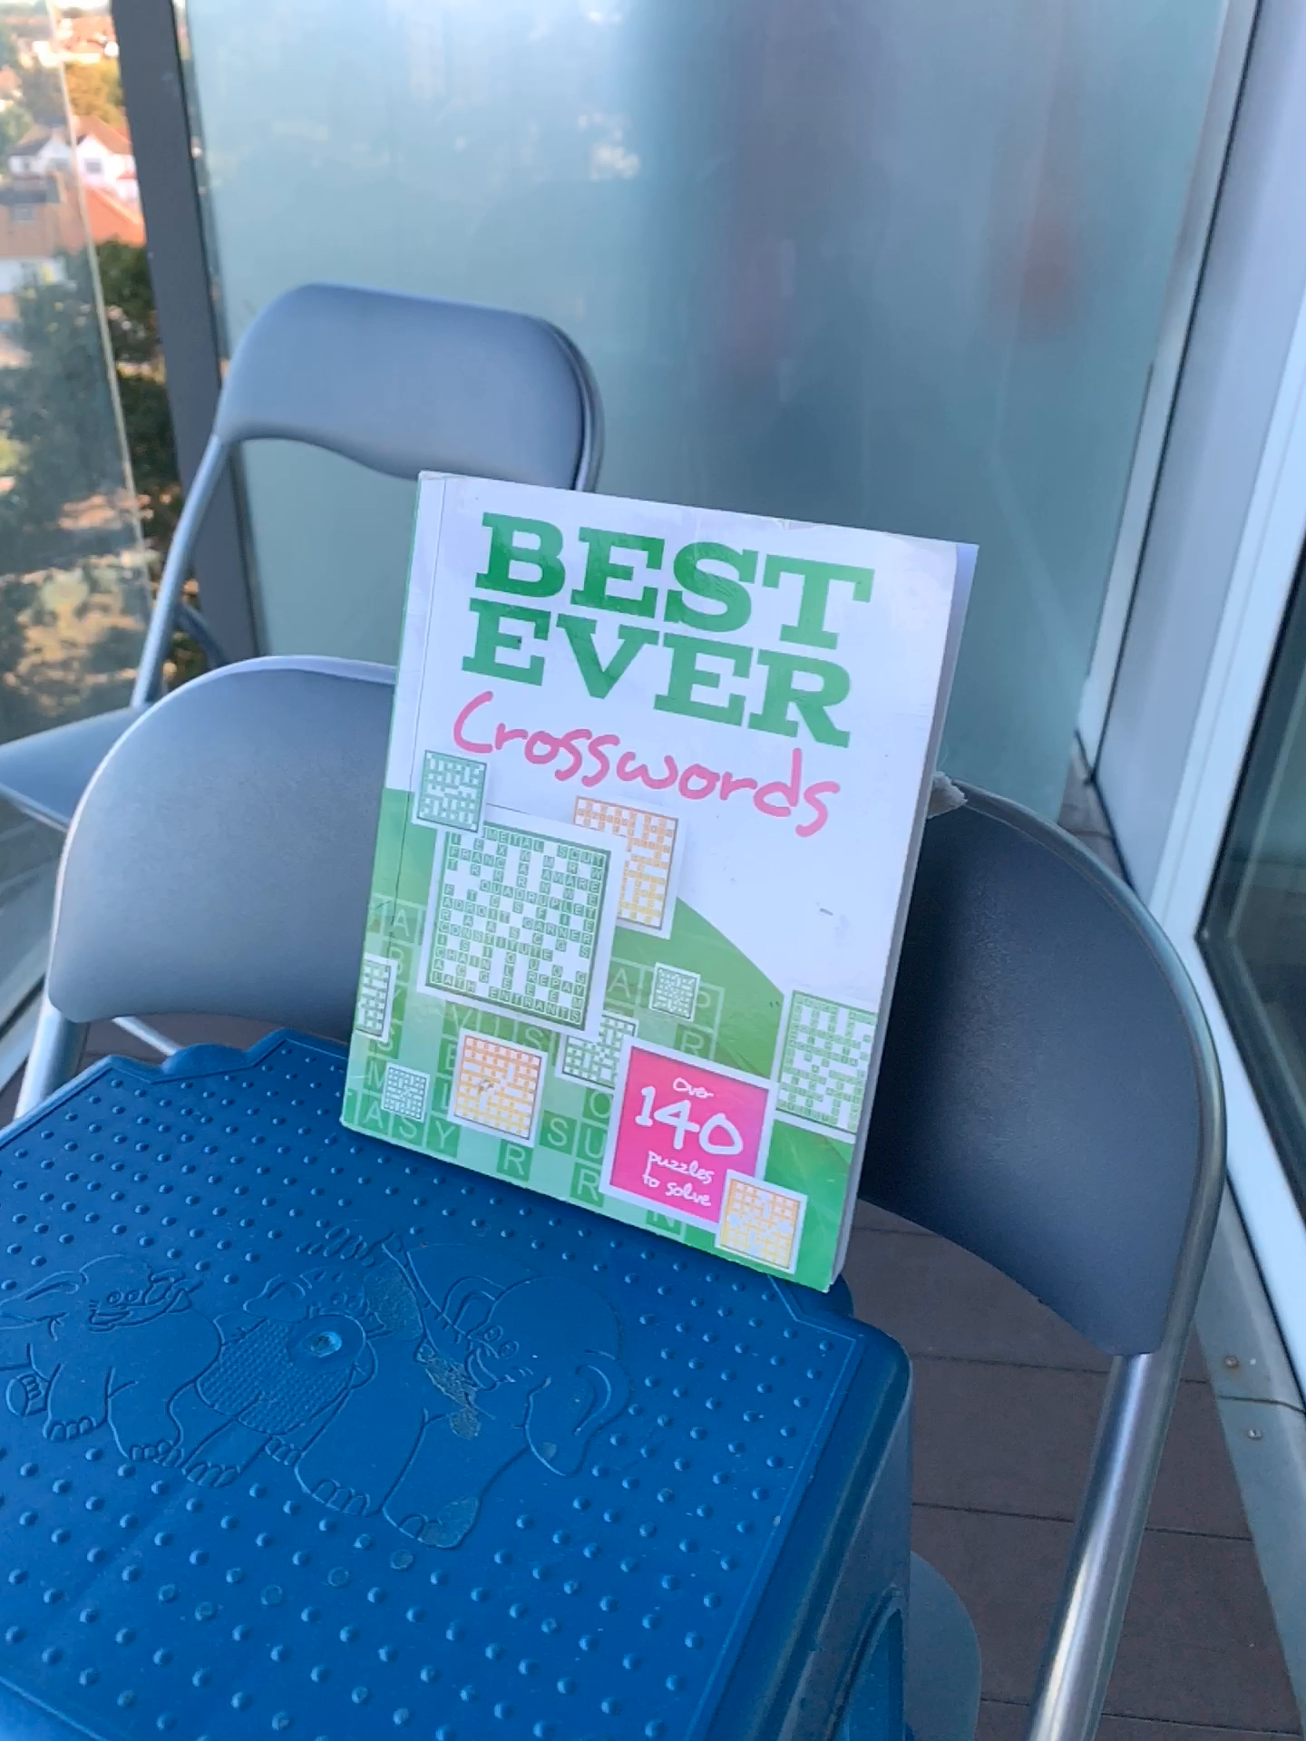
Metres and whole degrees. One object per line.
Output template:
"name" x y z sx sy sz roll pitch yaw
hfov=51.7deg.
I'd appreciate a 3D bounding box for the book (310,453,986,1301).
"book" -0.009 -0.002 0.371 0.157 0.196 0.030 13 12 19
